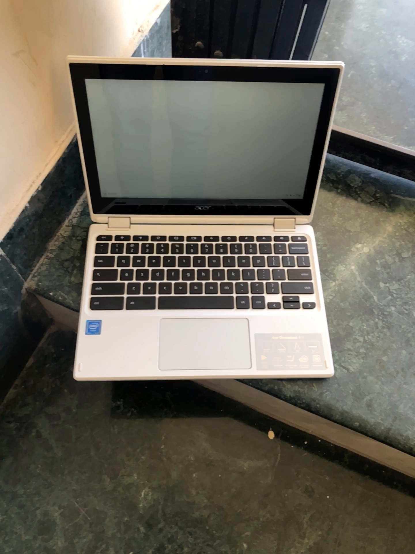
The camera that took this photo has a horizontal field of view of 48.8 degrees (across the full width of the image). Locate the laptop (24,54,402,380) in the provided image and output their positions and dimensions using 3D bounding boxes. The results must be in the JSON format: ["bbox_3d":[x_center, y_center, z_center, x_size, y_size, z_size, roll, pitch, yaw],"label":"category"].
[{"bbox_3d":[0.001,-0.055,0.474,0.278,0.178,0.272,0,63,-3],"label":"laptop"}]
